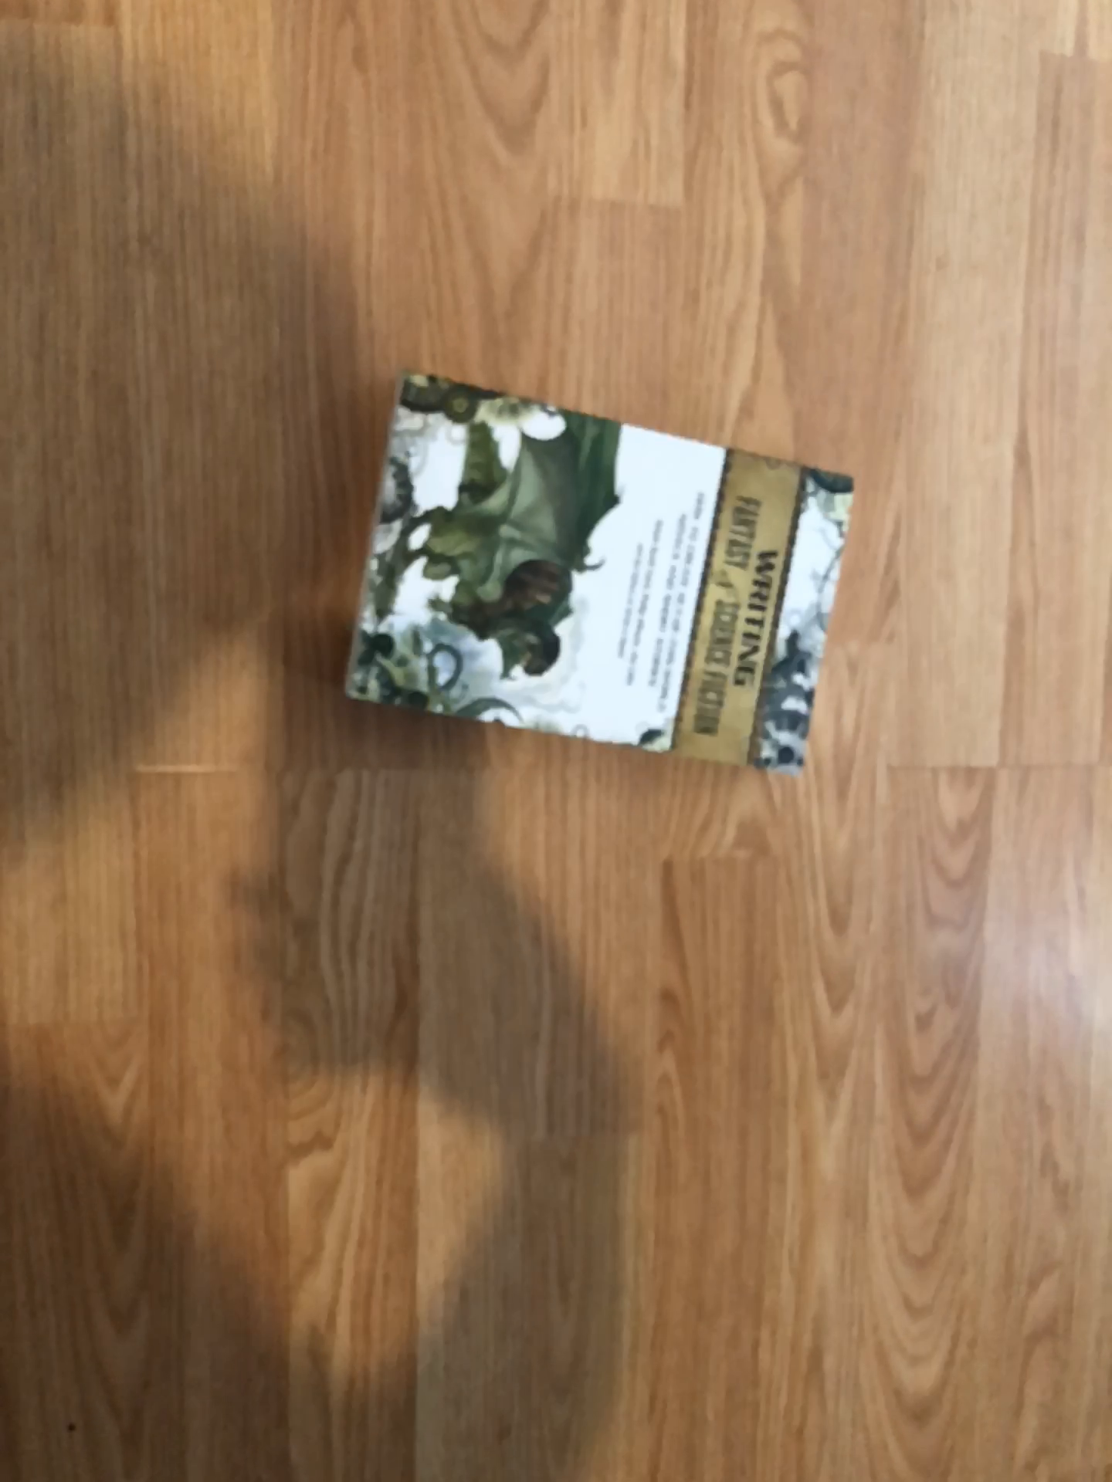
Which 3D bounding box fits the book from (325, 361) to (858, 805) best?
[{"bbox_3d":[0.018,-0.069,0.594,0.228,0.040,0.165,9,94,-15],"label":"book"}]
